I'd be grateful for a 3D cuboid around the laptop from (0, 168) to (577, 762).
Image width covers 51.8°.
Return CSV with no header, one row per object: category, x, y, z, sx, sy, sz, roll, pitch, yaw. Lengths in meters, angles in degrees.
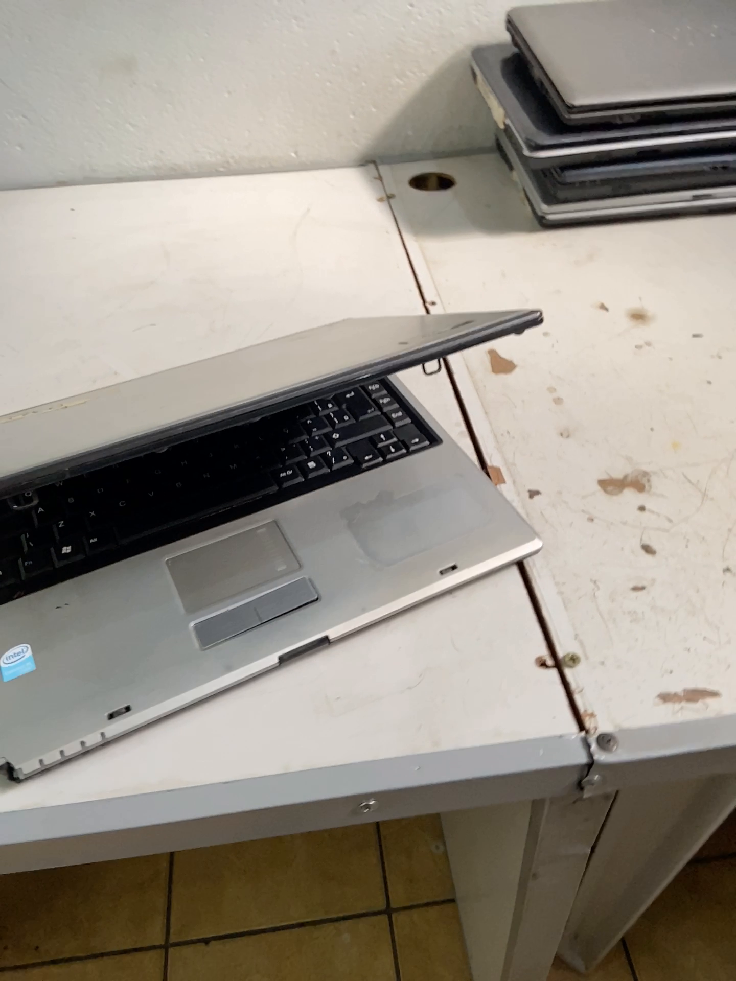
laptop,-0.101,-0.045,0.448,0.317,0.130,0.254,-21,48,-16
